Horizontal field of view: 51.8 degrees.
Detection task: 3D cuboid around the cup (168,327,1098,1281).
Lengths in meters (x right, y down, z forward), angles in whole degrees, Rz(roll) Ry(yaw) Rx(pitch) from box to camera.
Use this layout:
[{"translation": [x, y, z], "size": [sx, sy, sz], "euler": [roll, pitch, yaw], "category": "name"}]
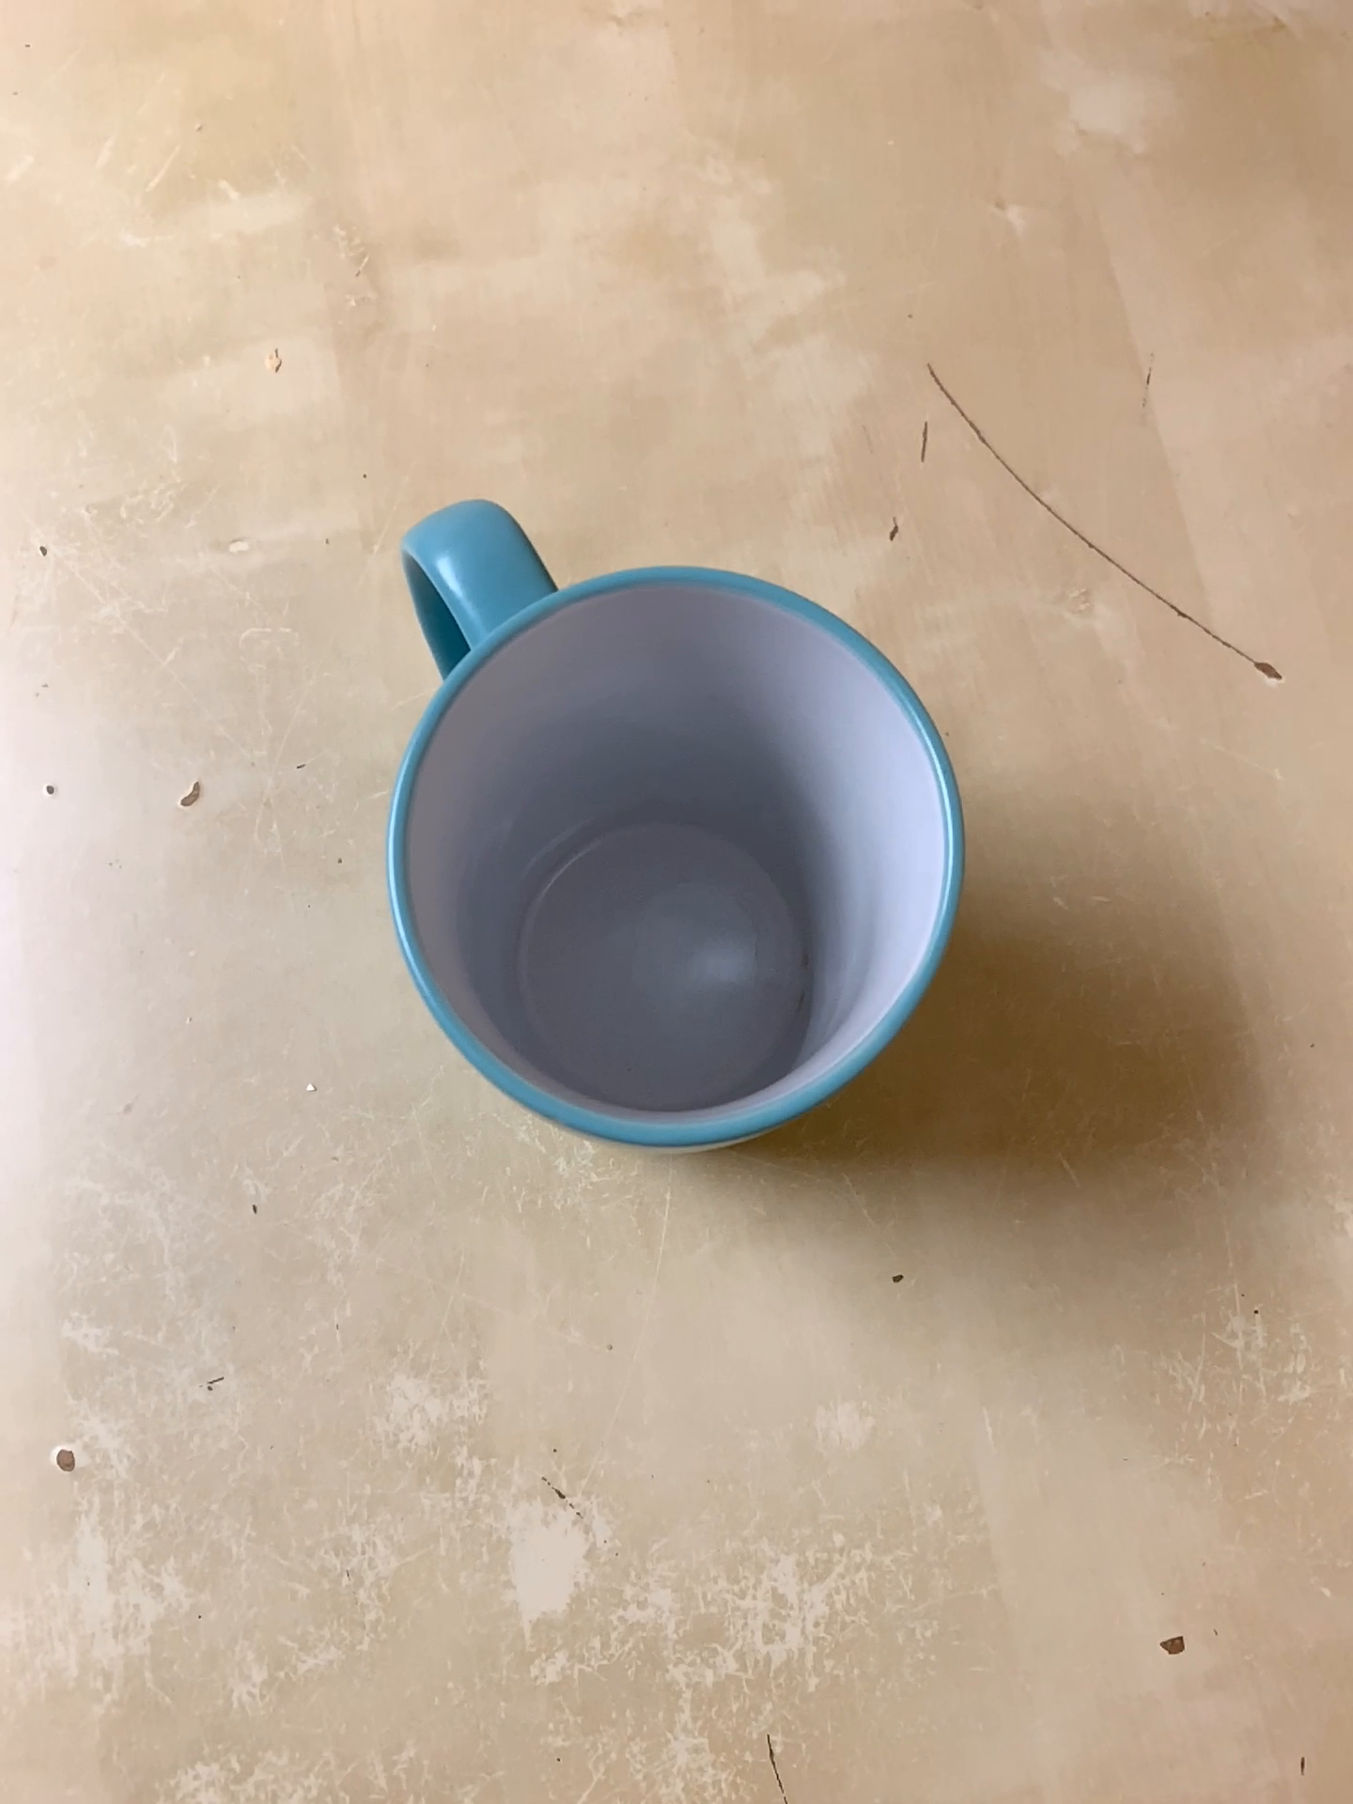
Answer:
[{"translation": [-0.010, -0.009, 0.268], "size": [0.091, 0.114, 0.121], "euler": [-32, 81, -8], "category": "cup"}]
